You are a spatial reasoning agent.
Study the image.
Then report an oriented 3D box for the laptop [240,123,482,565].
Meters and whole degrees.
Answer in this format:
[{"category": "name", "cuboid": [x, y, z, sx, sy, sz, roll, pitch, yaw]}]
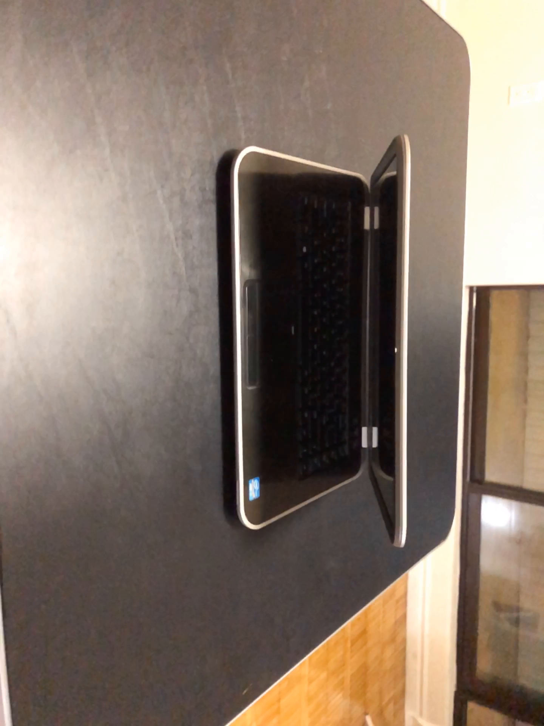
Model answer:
[{"category": "laptop", "cuboid": [0.102, -0.026, 0.615, 0.241, 0.137, 0.356, -12, 104, -52]}]
